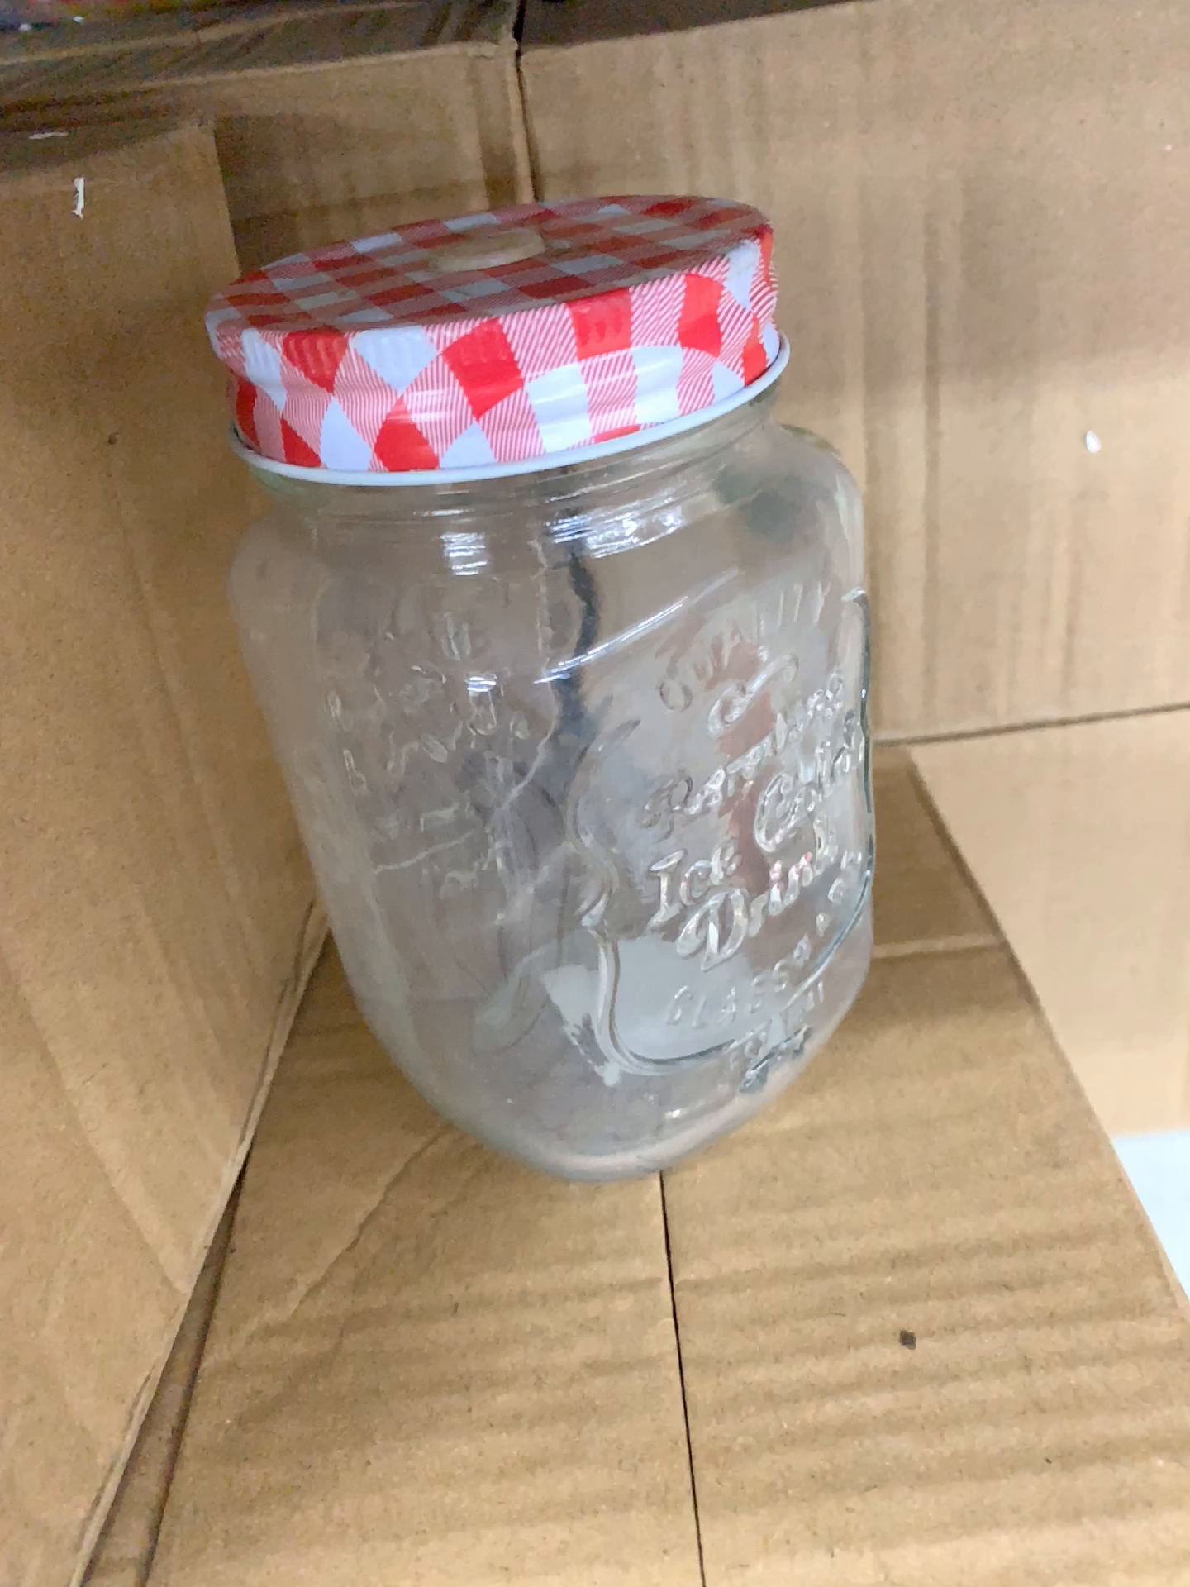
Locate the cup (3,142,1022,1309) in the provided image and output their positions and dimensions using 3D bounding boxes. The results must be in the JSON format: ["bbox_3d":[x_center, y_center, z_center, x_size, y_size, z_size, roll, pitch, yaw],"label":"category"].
[{"bbox_3d":[-0.002,-0.018,0.186,0.100,0.119,0.080,-30,36,-26],"label":"cup"}]
